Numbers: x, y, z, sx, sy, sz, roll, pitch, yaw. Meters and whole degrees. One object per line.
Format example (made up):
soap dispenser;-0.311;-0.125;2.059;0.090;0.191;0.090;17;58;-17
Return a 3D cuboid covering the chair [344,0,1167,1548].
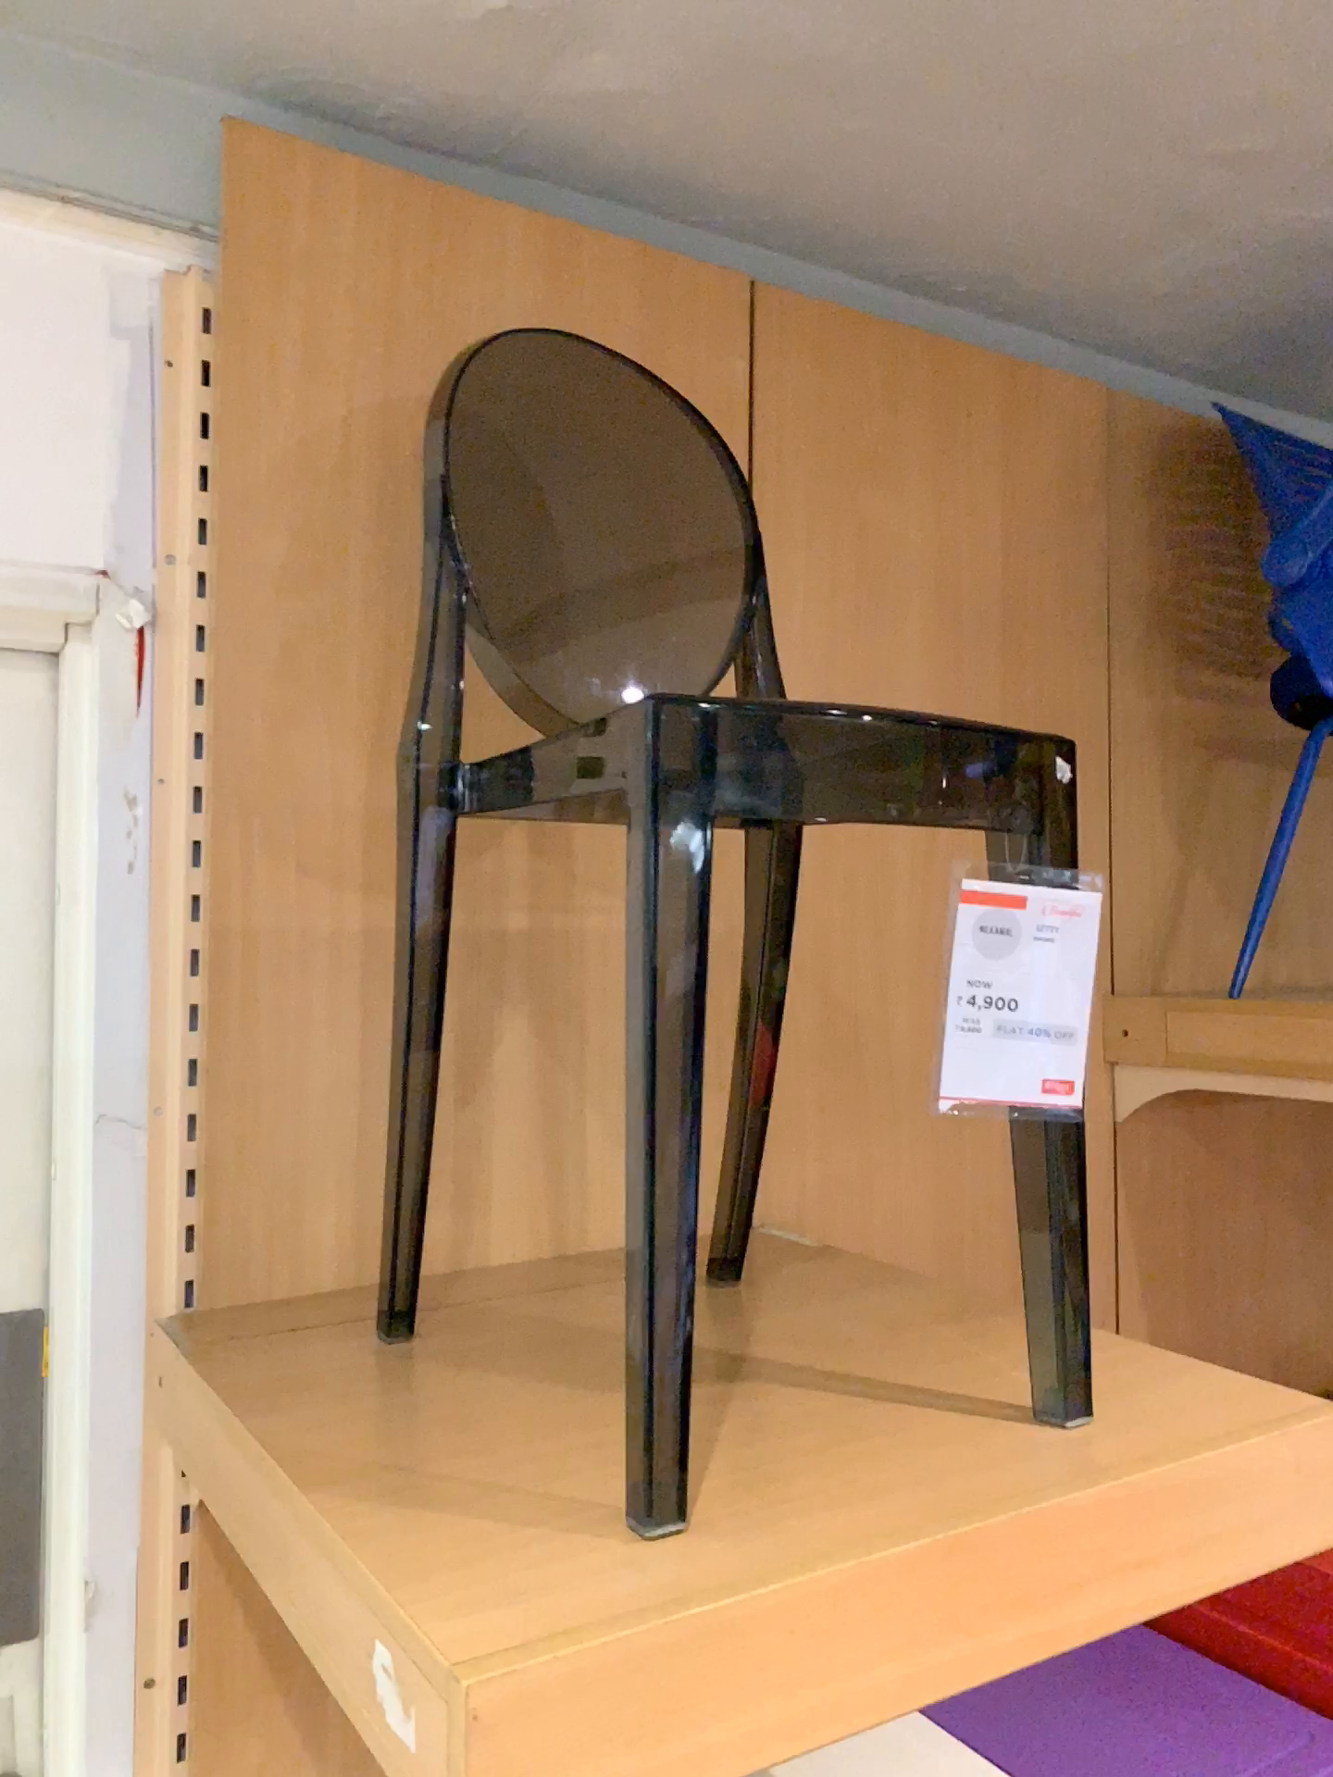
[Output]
chair;0.037;-0.079;1.020;0.400;0.850;0.470;1;-3;-33
